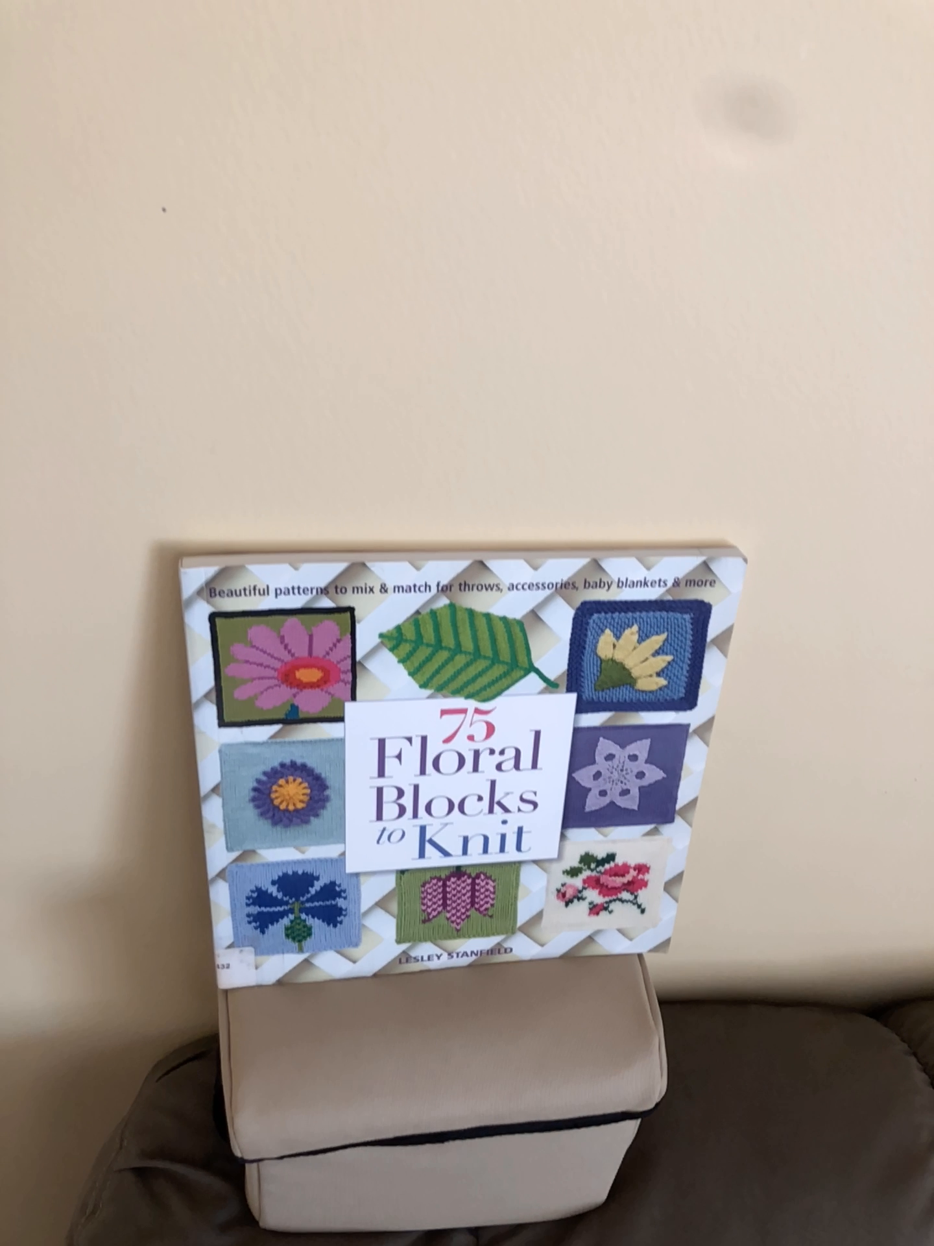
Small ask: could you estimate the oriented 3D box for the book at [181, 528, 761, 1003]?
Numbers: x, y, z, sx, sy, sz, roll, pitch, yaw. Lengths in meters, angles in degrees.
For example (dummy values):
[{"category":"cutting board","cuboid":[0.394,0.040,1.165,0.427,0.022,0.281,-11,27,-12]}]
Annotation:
[{"category":"book","cuboid":[-0.002,0.064,0.436,0.218,0.215,0.020,-1,27,-11]}]
